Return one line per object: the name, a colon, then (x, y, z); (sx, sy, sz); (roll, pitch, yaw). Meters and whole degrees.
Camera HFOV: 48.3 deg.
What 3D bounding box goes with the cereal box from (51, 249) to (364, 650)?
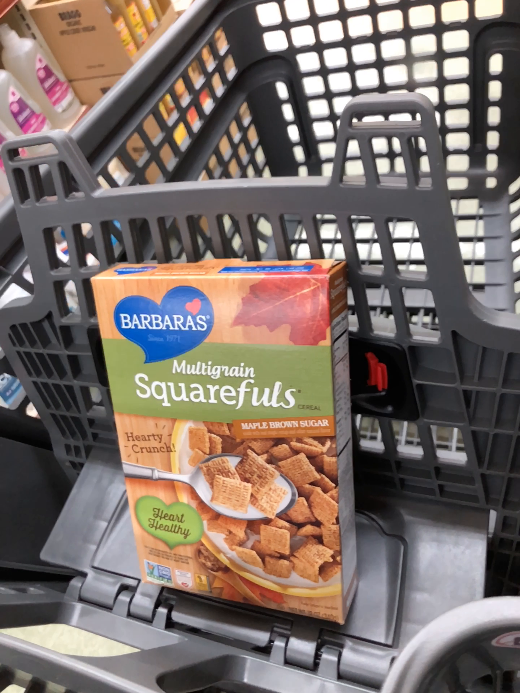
cereal box: (-0.030, 0.067, 0.414); (0.190, 0.260, 0.060); (2, 18, 23)
